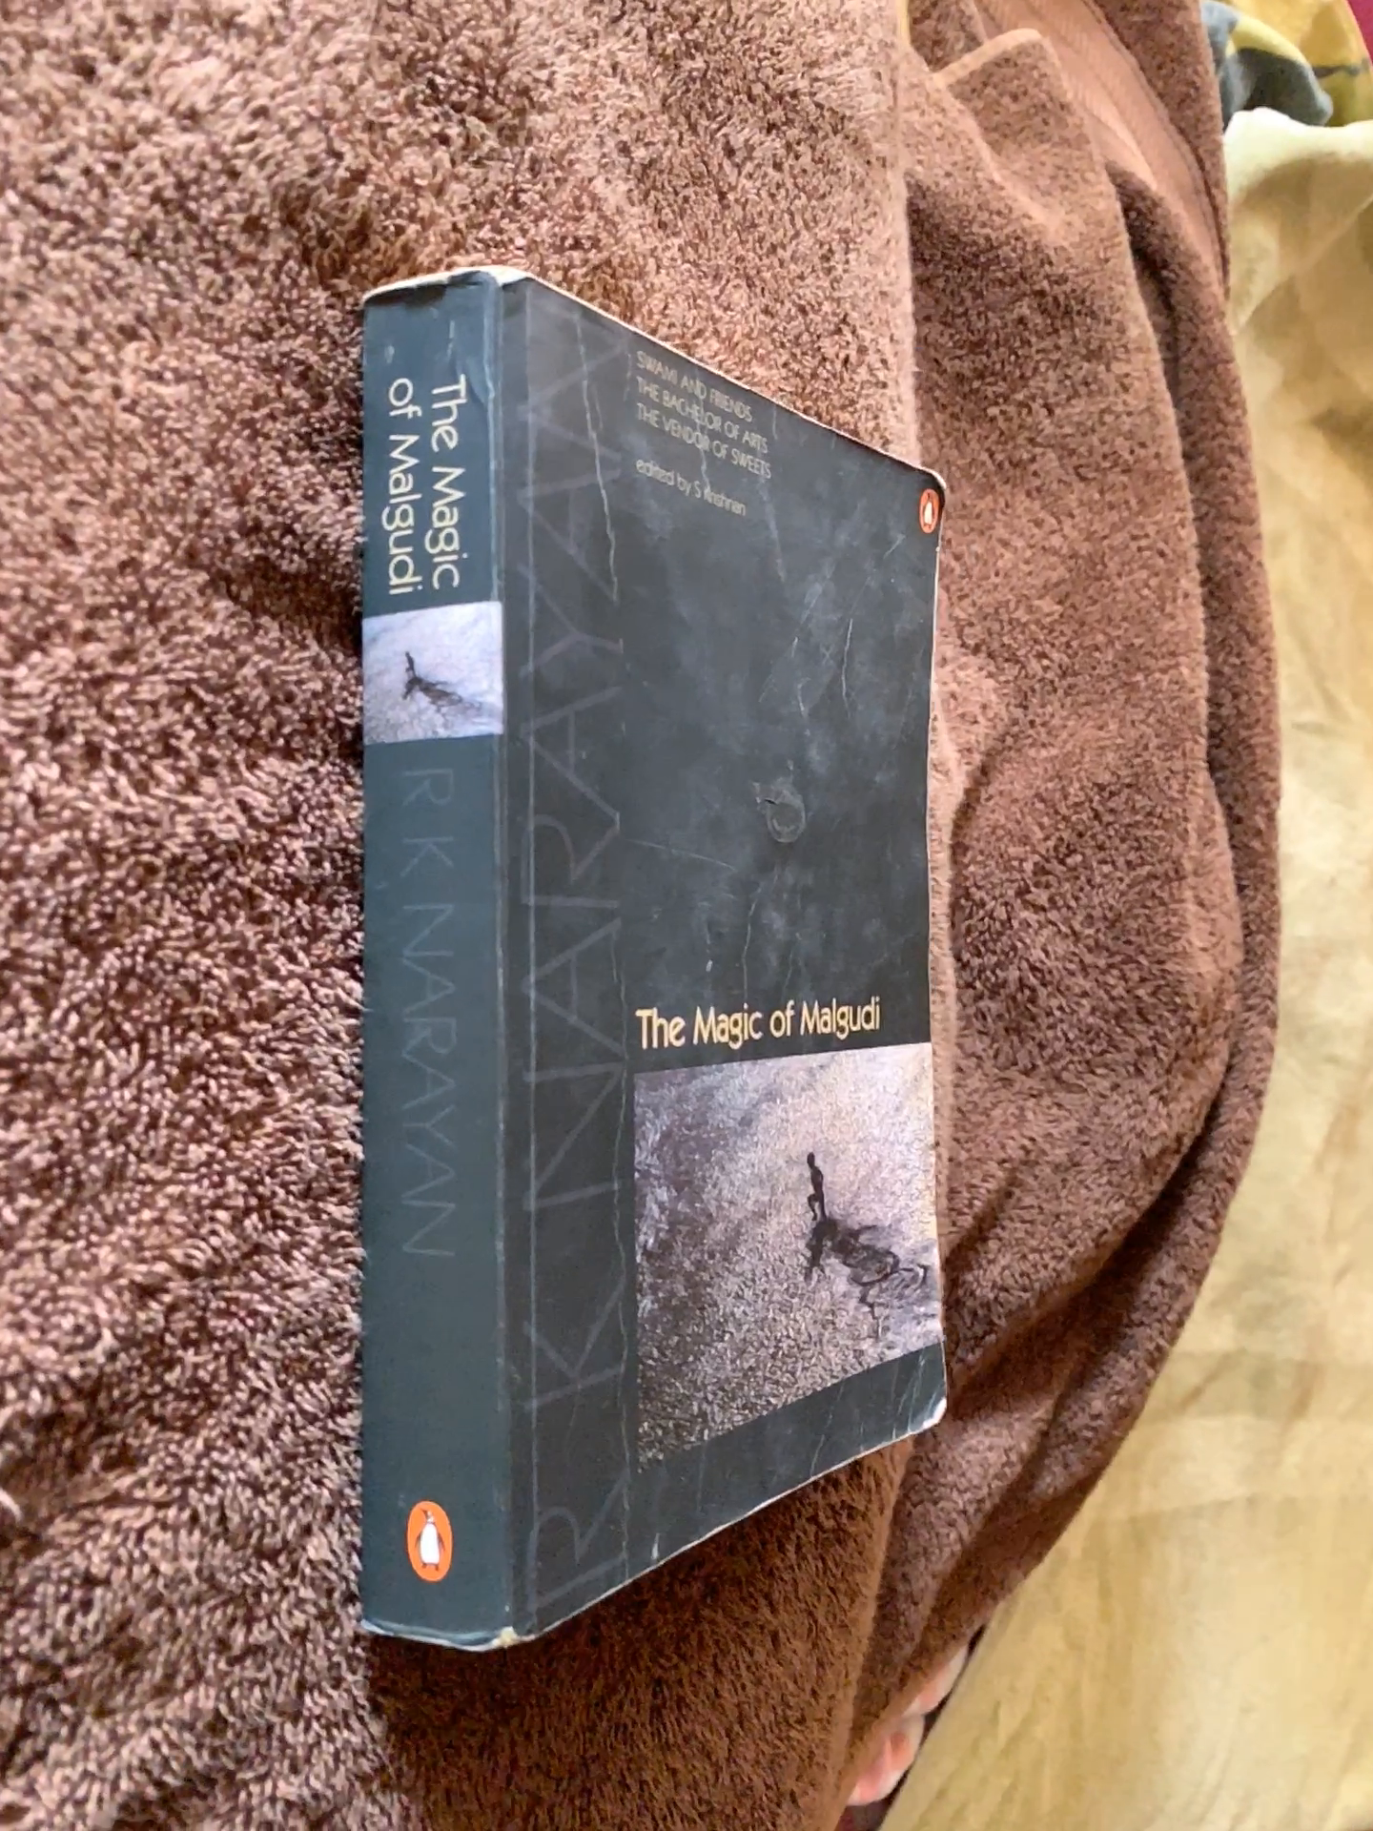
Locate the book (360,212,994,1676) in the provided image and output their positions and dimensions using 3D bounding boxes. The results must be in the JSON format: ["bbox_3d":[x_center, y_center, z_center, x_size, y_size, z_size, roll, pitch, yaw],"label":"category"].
[{"bbox_3d":[0.008,0.004,0.253,0.143,0.030,0.193,2,87,-53],"label":"book"}]
